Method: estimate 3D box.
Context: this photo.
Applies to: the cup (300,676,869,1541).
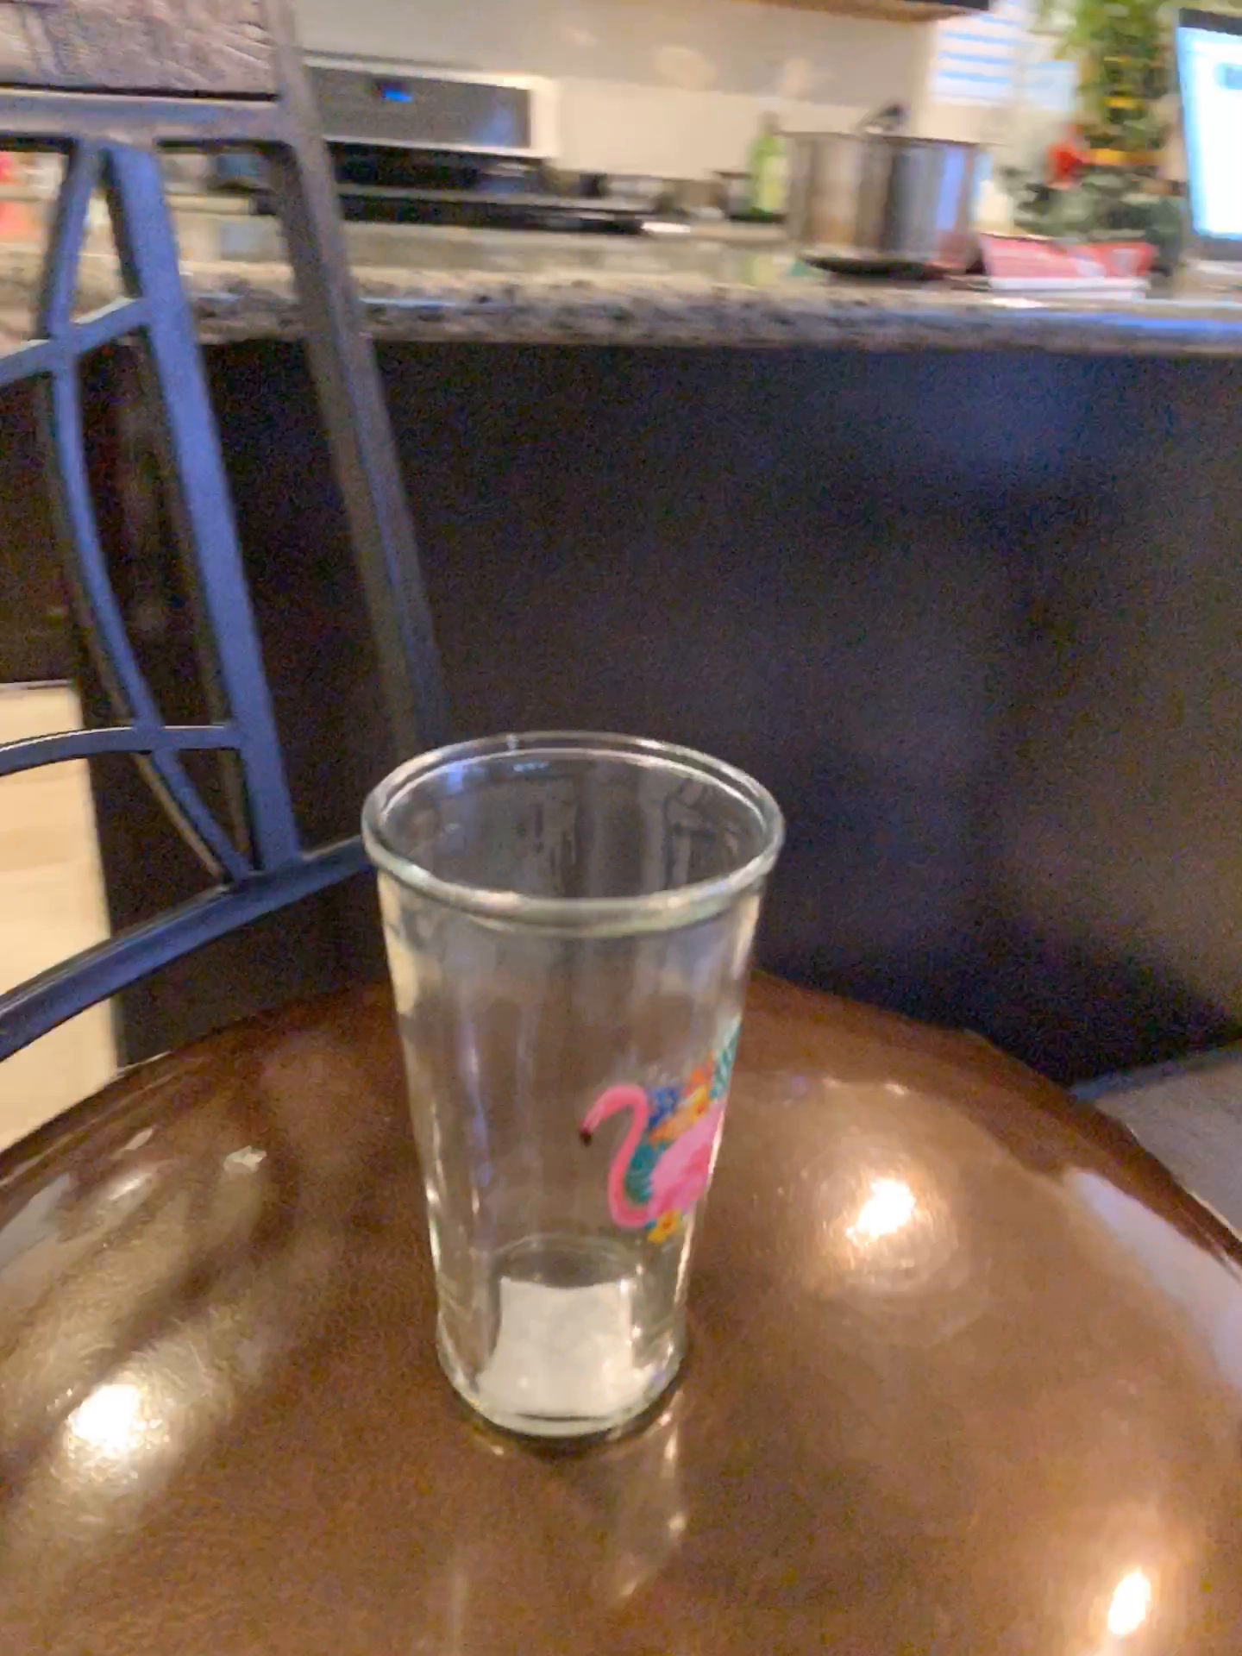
[{"bbox_3d":[-0.011,0.056,0.285,0.080,0.149,0.080,3,25,-1],"label":"cup"}]
